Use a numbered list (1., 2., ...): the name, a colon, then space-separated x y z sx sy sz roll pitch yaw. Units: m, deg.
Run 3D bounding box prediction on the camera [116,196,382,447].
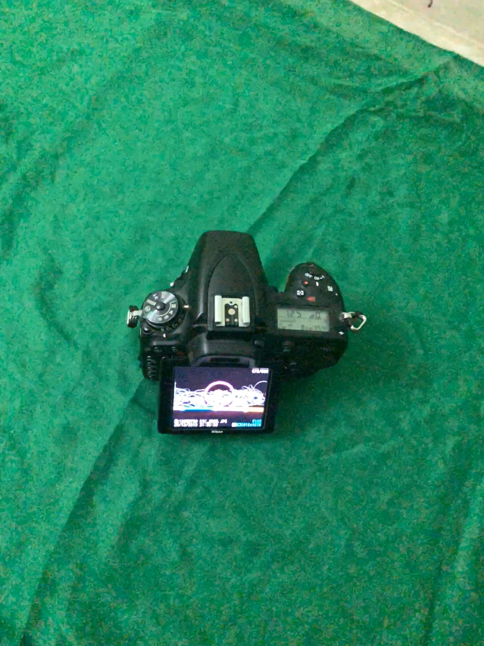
1. camera: 0.000 0.007 0.331 0.142 0.100 0.128 4 68 -7
